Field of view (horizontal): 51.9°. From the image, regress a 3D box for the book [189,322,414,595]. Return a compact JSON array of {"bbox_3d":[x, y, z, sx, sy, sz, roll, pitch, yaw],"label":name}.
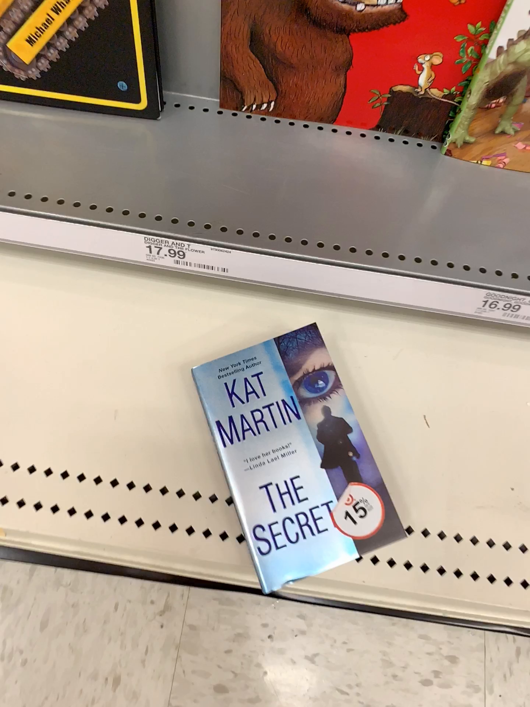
[{"bbox_3d":[0.022,0.072,0.401,0.105,0.040,0.164,-19,72,-7],"label":"book"}]
